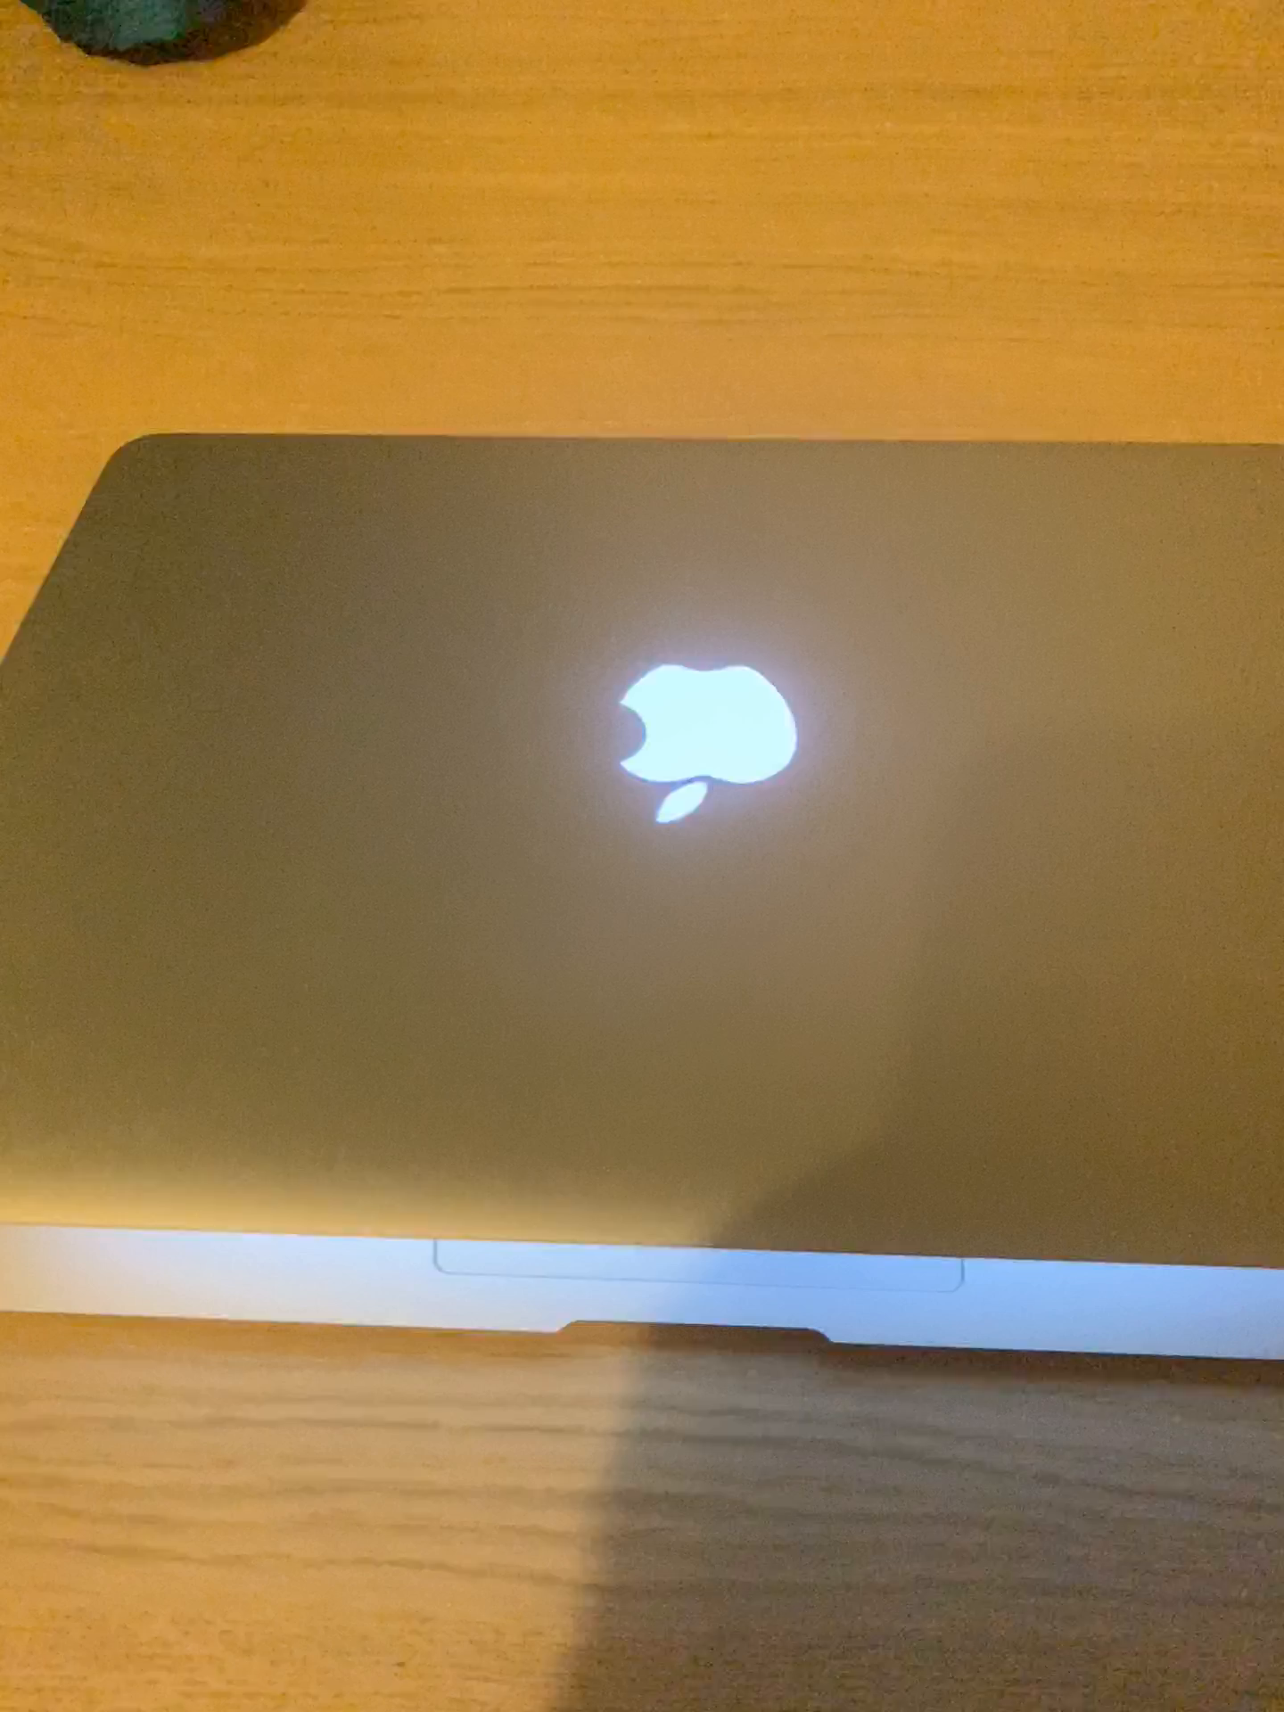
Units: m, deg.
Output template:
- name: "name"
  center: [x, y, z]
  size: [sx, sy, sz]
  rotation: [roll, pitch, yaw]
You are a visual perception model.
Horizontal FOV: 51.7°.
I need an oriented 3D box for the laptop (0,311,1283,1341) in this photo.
- name: "laptop"
  center: [0.014, -0.021, 0.284]
  size: [0.320, 0.048, 0.218]
  rotation: [1, 61, 3]
